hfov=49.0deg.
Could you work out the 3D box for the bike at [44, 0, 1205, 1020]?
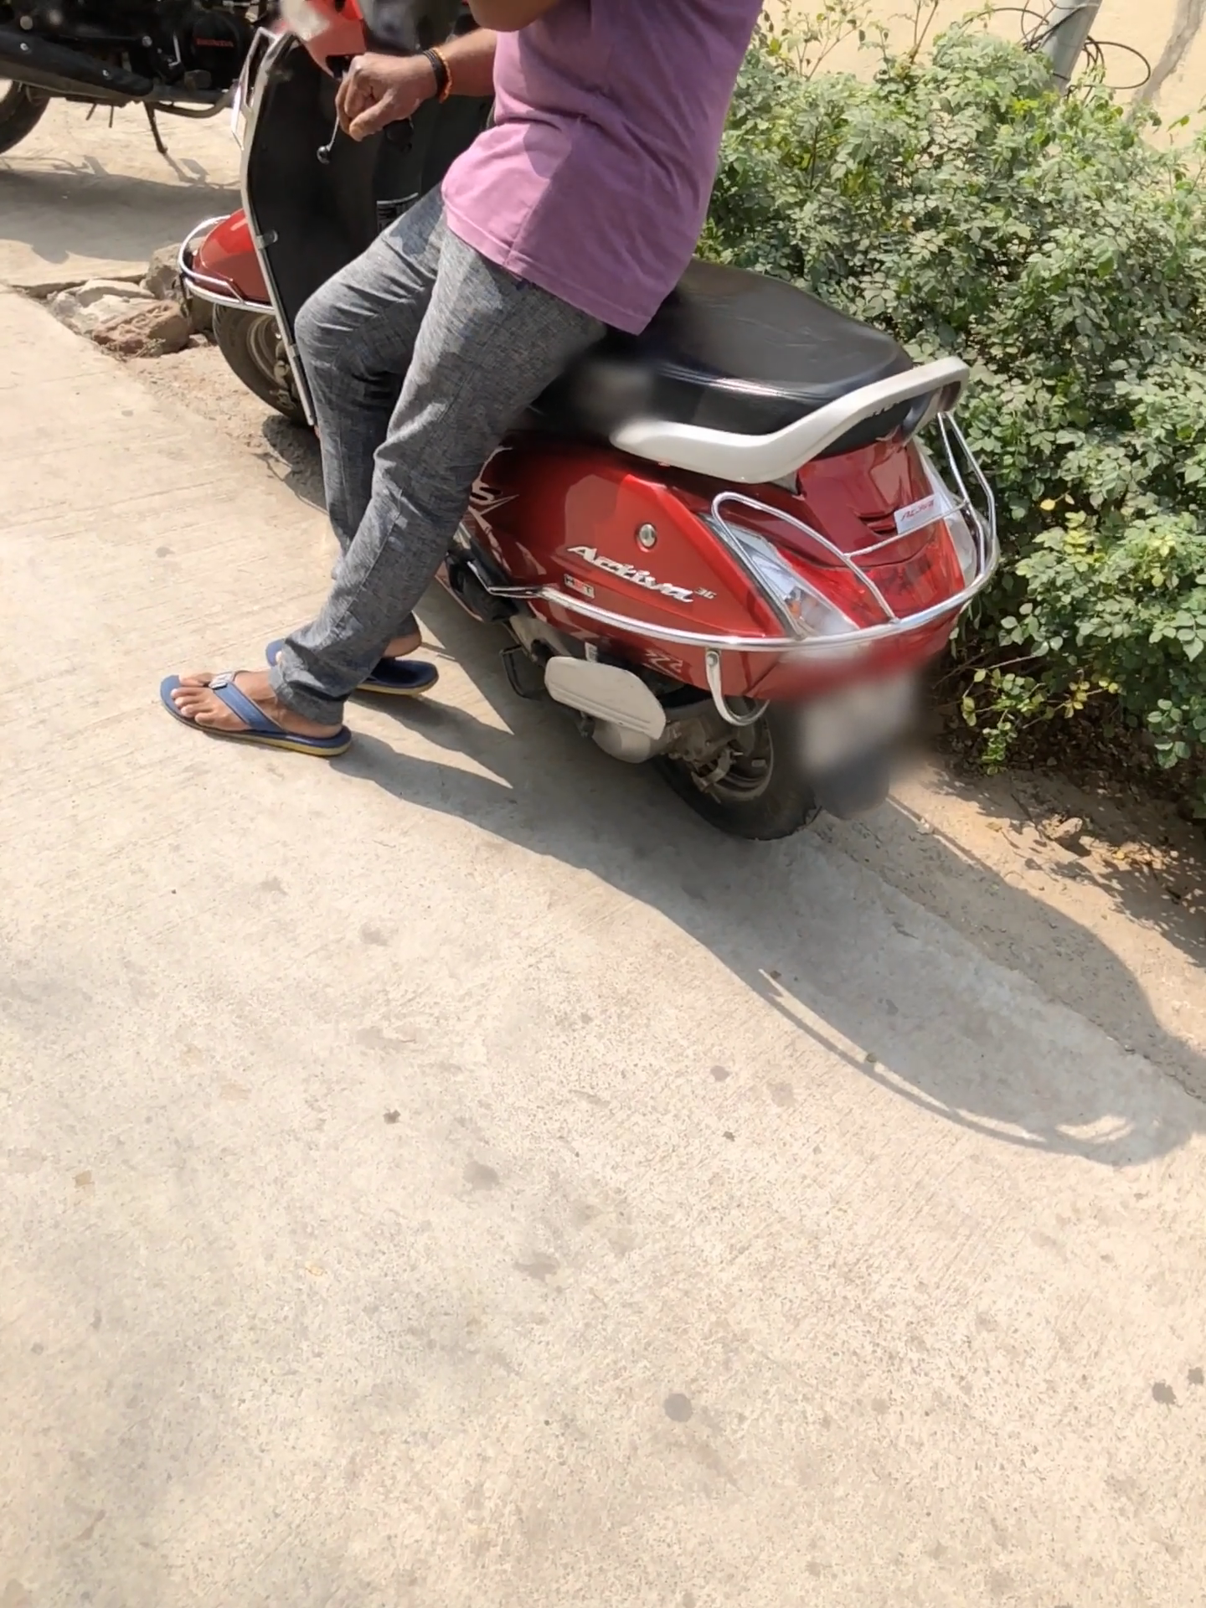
[{"bbox_3d":[-0.192,-0.714,1.976,0.625,1.156,1.584,-18,49,-40],"label":"bike"}]
